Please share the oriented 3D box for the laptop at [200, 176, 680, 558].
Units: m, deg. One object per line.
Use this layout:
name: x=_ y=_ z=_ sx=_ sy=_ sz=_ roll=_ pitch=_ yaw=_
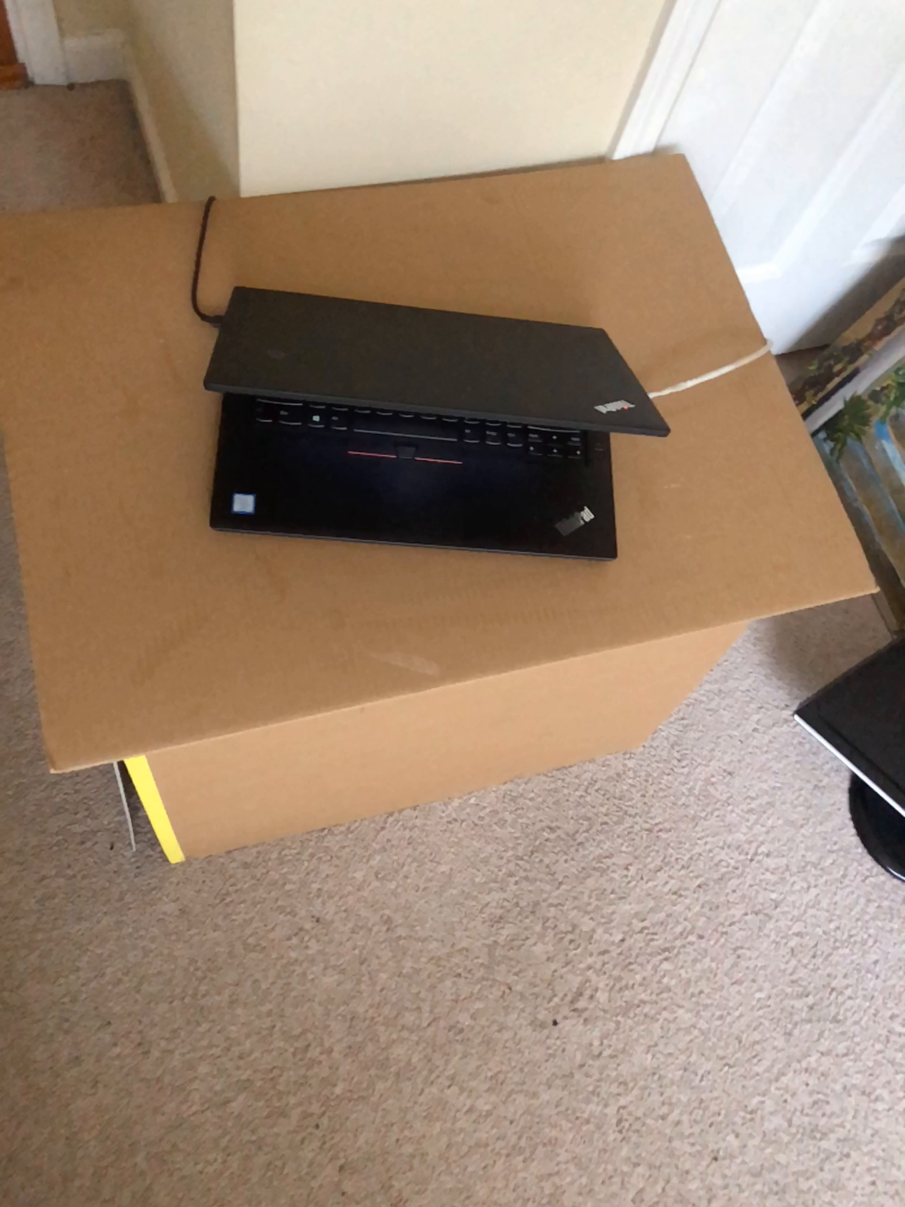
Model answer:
laptop: x=-0.012 y=-0.181 z=0.791 sx=0.334 sy=0.140 sz=0.232 roll=4 pitch=65 yaw=-9
